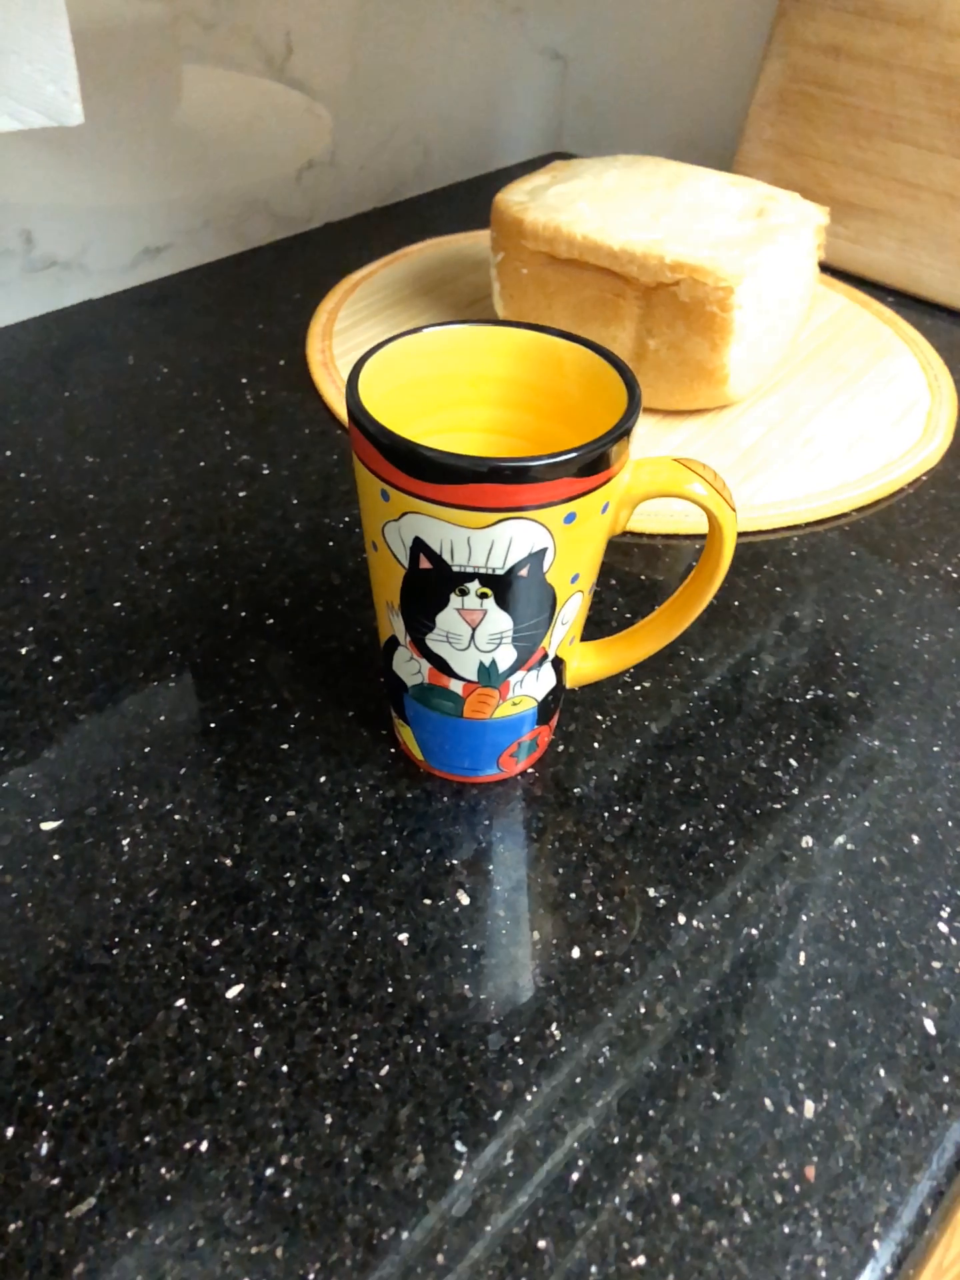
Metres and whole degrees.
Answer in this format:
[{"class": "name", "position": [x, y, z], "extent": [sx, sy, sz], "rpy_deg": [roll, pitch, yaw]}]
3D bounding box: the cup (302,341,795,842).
[{"class": "cup", "position": [0.018, -0.014, 0.359], "extent": [0.130, 0.139, 0.091], "rpy_deg": [2, 41, 0]}]
